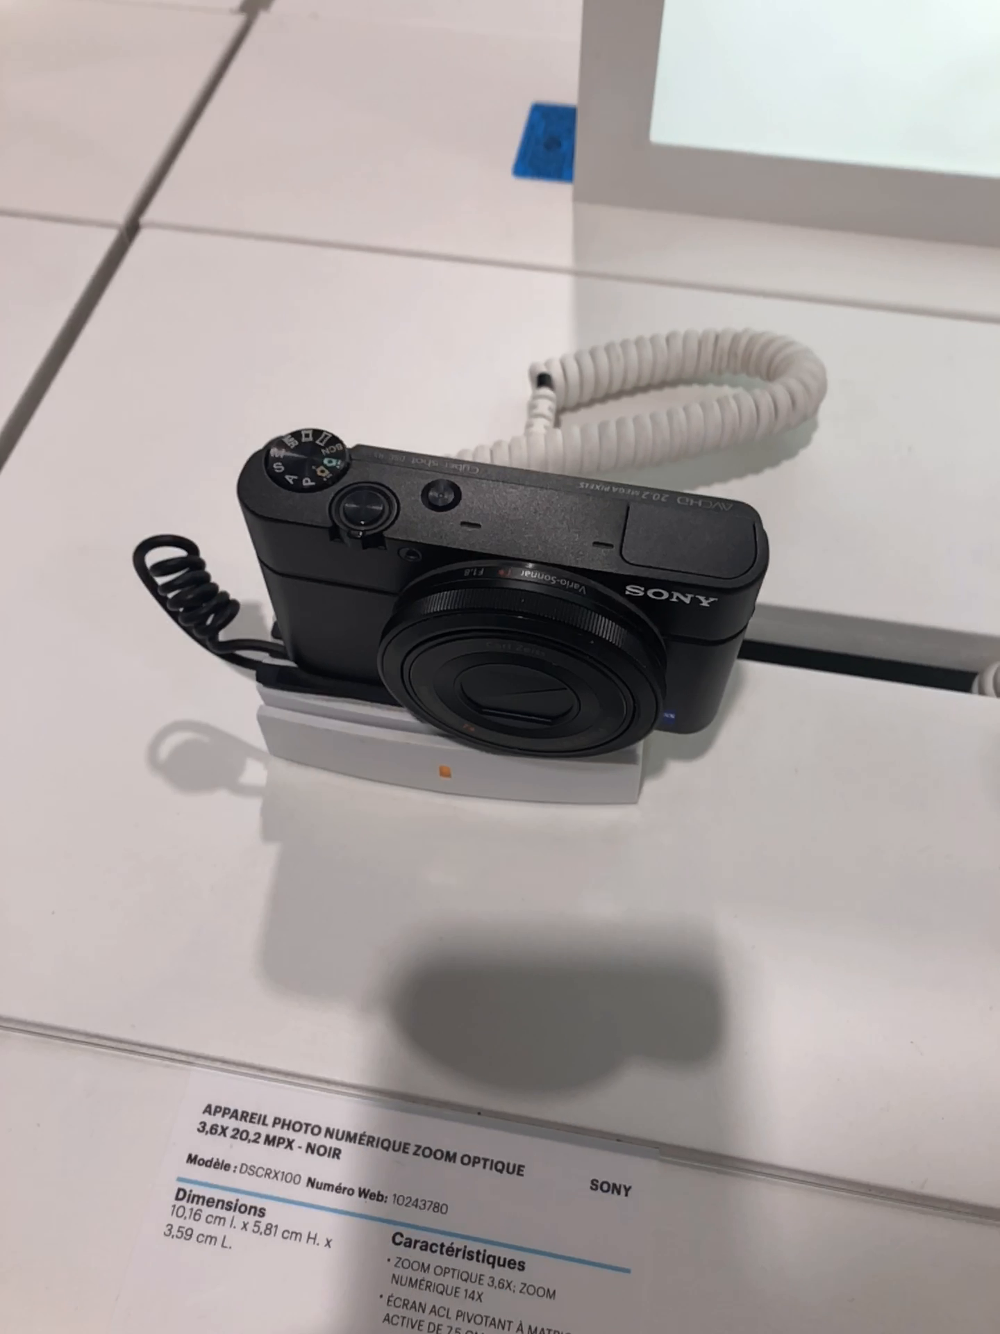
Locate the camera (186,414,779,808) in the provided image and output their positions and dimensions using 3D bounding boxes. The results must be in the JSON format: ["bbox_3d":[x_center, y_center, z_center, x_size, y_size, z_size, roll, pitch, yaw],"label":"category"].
[{"bbox_3d":[-0.002,-0.010,0.222,0.100,0.056,0.036,10,56,7],"label":"camera"}]
